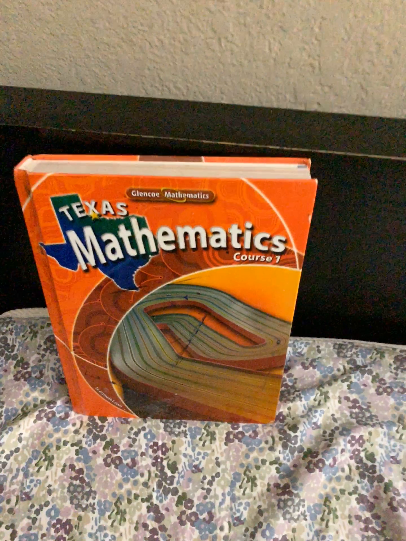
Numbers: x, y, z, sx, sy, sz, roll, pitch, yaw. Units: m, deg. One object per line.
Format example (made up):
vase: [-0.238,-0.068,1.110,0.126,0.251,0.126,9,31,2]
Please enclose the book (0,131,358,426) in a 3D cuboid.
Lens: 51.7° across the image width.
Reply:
book: [-0.022,0.034,0.376,0.230,0.299,0.050,1,39,-1]
